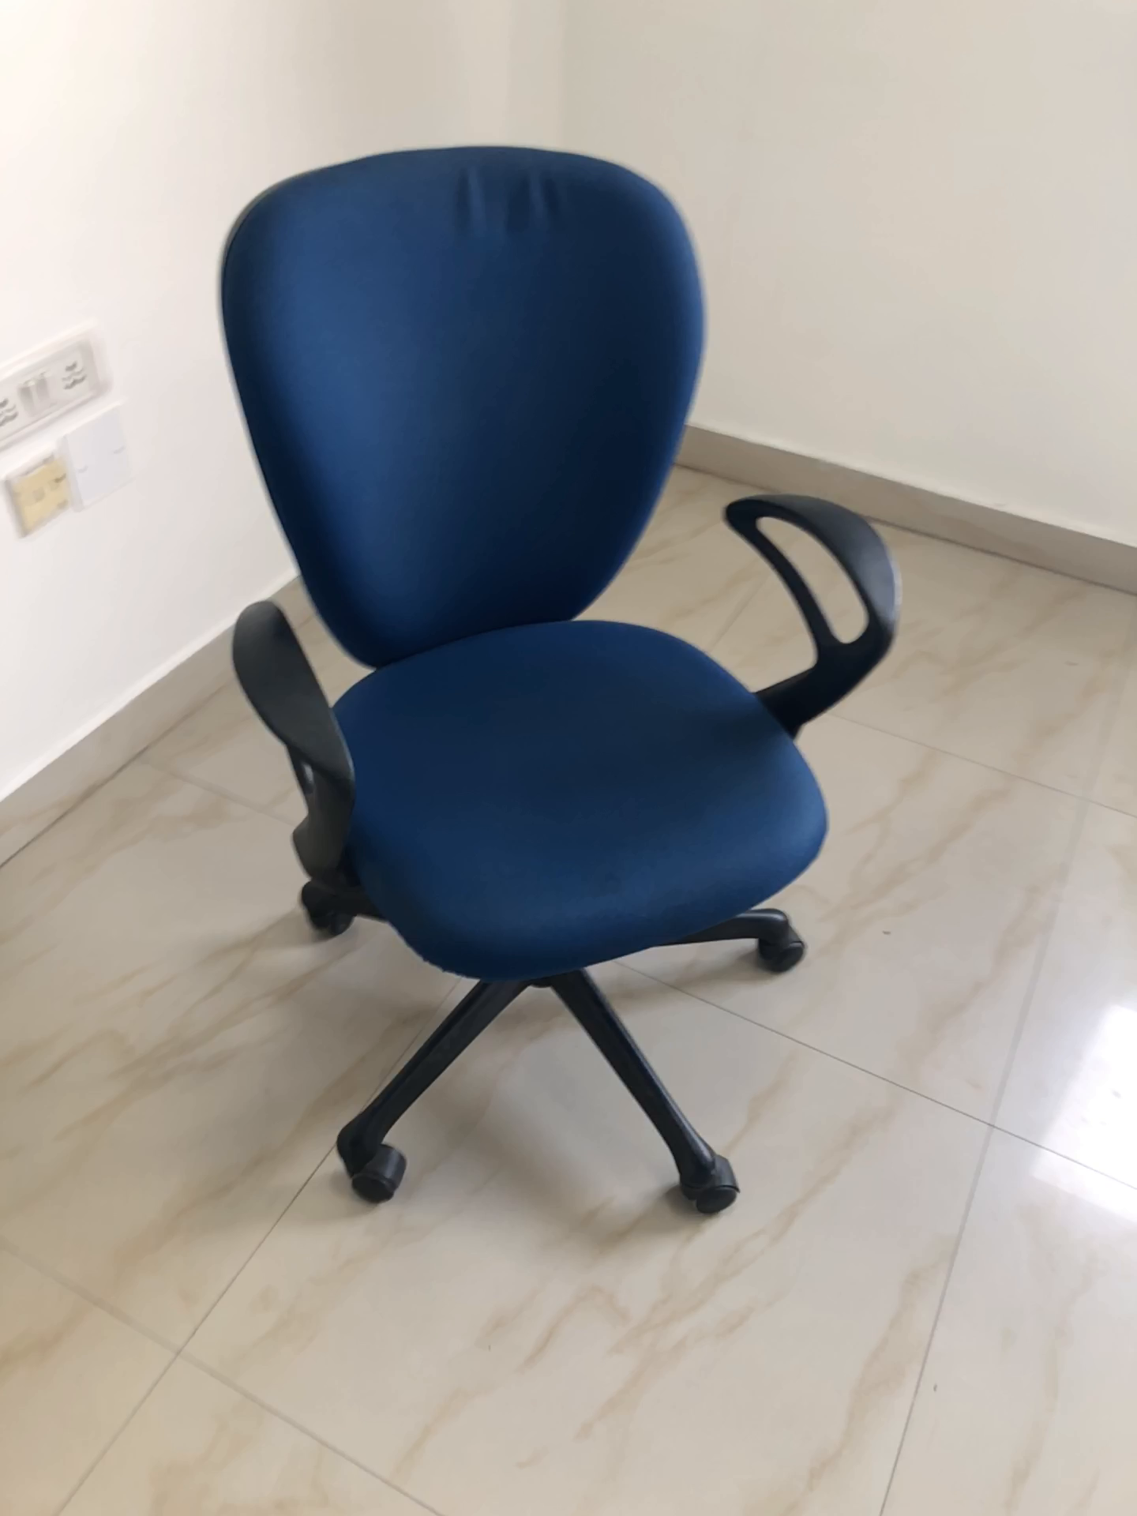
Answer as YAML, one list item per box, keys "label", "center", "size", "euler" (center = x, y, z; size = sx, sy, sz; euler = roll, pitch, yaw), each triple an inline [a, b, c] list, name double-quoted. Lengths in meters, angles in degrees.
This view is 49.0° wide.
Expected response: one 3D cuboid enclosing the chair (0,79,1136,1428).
- label: "chair"
  center: [-0.026, -0.039, 1.221]
  size: [0.702, 0.914, 0.653]
  euler: [33, 48, 29]
